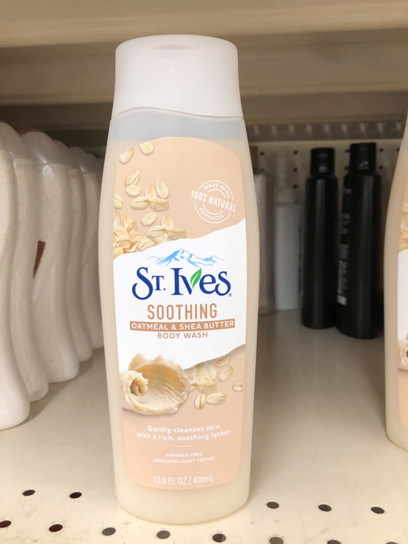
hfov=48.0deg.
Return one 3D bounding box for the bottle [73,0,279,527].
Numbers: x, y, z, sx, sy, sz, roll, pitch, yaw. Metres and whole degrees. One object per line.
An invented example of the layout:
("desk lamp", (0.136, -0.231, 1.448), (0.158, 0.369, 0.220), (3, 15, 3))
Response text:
("bottle", (-0.009, 0.001, 0.221), (0.080, 0.230, 0.050), (-1, 9, 0))
